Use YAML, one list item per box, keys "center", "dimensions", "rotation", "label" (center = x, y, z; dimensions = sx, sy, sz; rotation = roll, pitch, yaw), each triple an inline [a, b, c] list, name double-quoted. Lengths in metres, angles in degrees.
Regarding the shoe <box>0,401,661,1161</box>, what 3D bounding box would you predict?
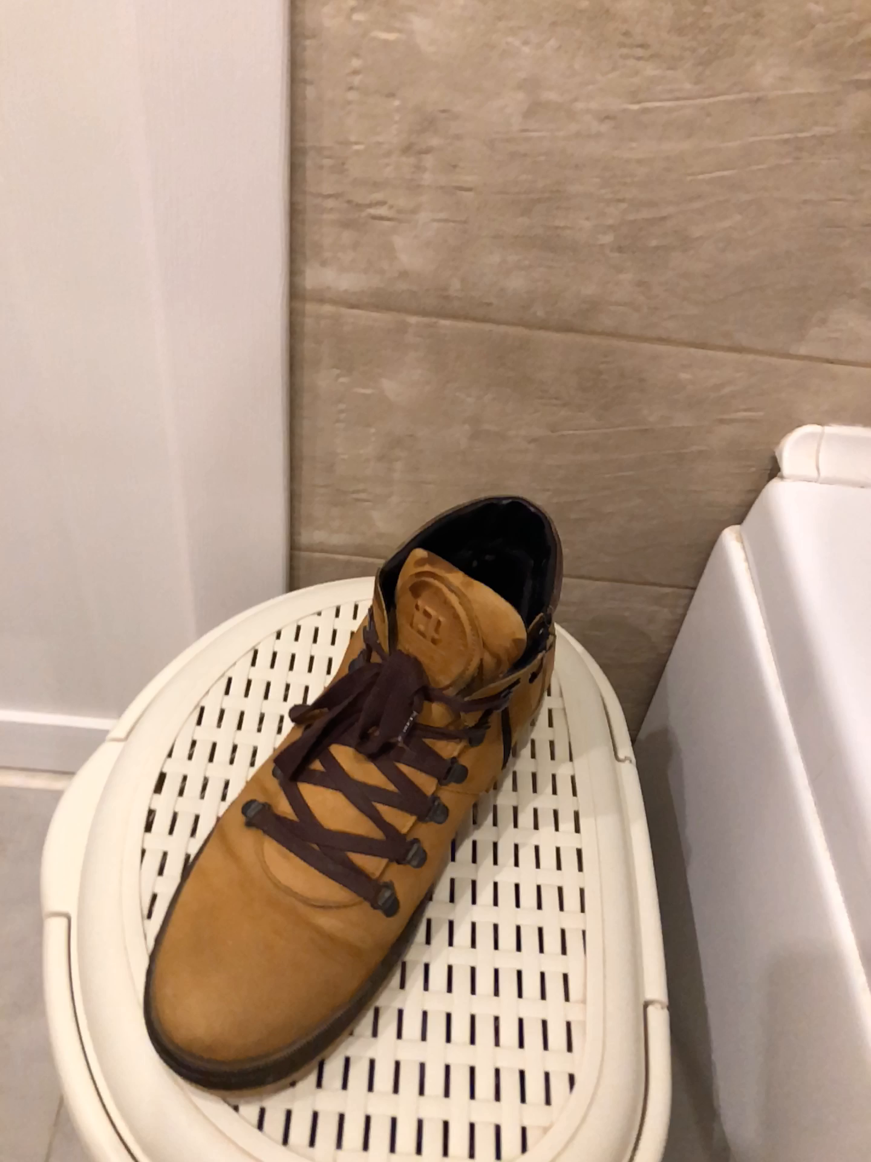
- center: [-0.025, 0.078, 0.430]
  dimensions: [0.110, 0.169, 0.292]
  rotation: [27, 49, 17]
  label: "shoe"
